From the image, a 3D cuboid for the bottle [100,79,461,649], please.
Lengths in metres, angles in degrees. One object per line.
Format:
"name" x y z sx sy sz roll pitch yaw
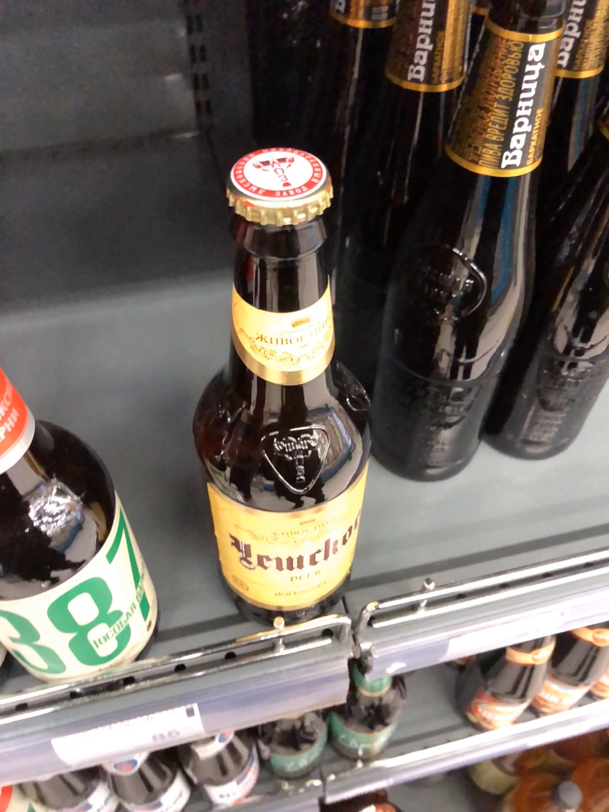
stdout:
"bottle" -0.012 0.009 0.279 0.080 0.239 0.080 0 52 0
